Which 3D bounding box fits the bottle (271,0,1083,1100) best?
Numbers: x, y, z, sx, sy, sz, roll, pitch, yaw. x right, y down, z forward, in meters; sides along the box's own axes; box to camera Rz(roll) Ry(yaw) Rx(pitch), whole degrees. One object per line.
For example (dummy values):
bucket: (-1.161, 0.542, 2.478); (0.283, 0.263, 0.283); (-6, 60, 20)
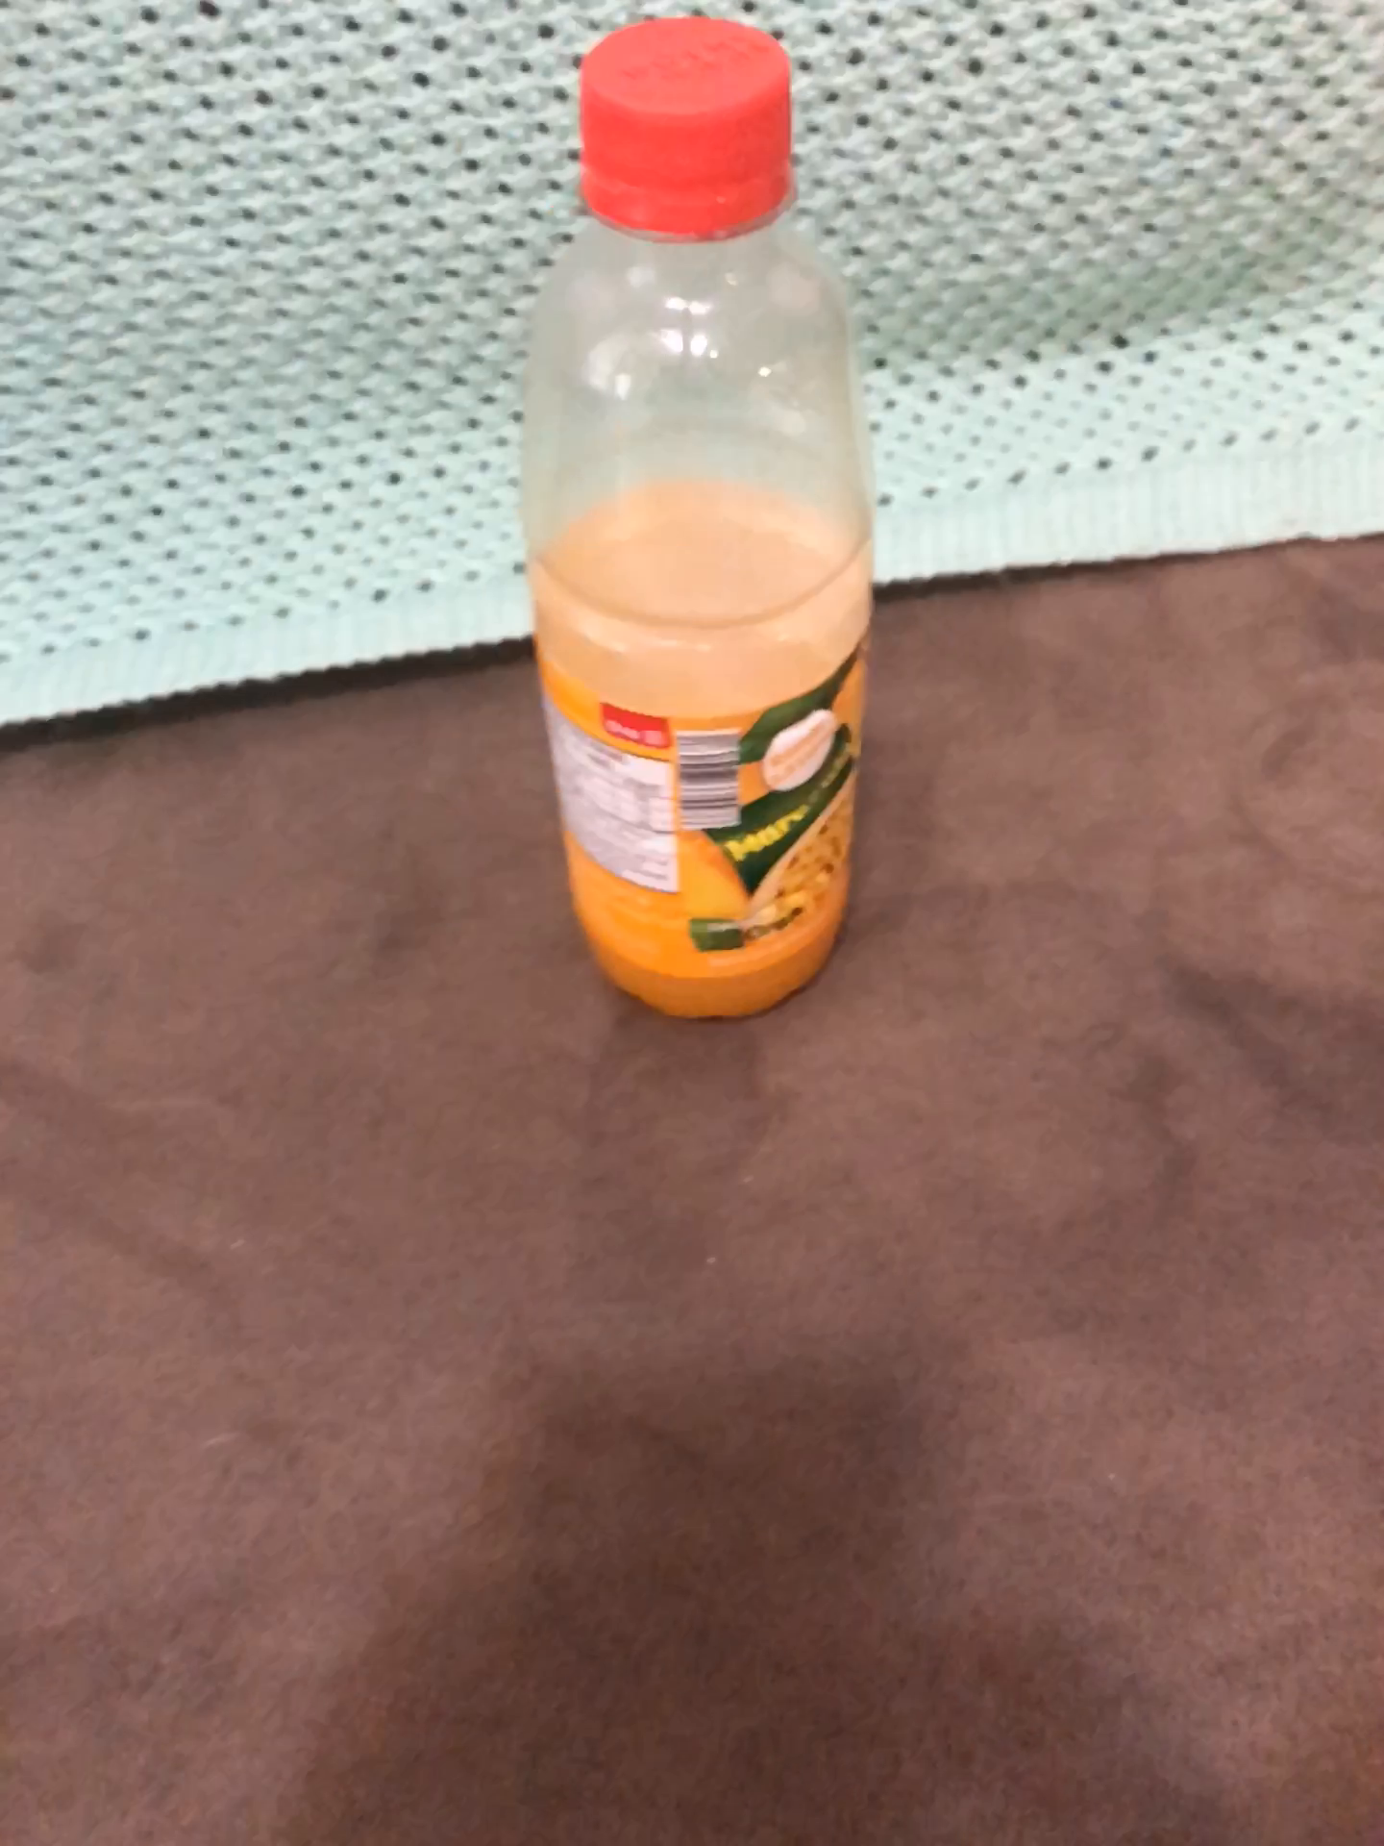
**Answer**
bottle: (0.002, -0.067, 0.292); (0.080, 0.199, 0.080); (-2, 52, 3)
